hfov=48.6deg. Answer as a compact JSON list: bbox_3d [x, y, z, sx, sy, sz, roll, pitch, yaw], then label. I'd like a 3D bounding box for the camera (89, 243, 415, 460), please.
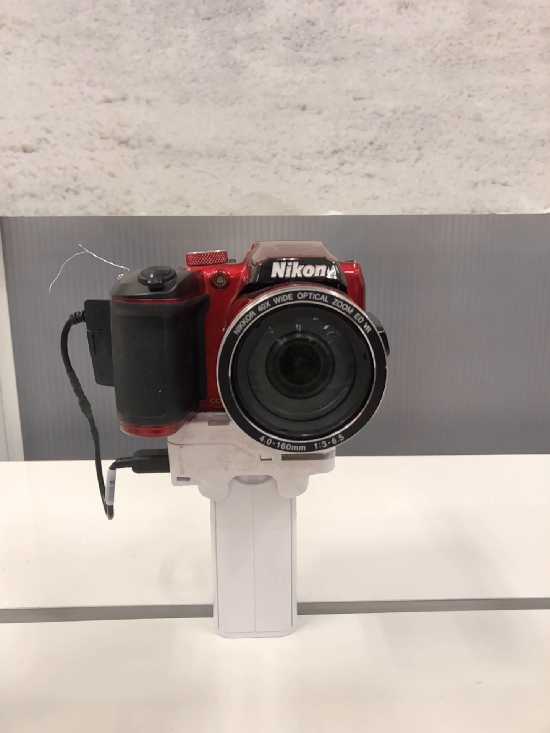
[{"bbox_3d":[-0.009,-0.012,0.255,0.110,0.074,0.084,0,13,-2],"label":"camera"}]
